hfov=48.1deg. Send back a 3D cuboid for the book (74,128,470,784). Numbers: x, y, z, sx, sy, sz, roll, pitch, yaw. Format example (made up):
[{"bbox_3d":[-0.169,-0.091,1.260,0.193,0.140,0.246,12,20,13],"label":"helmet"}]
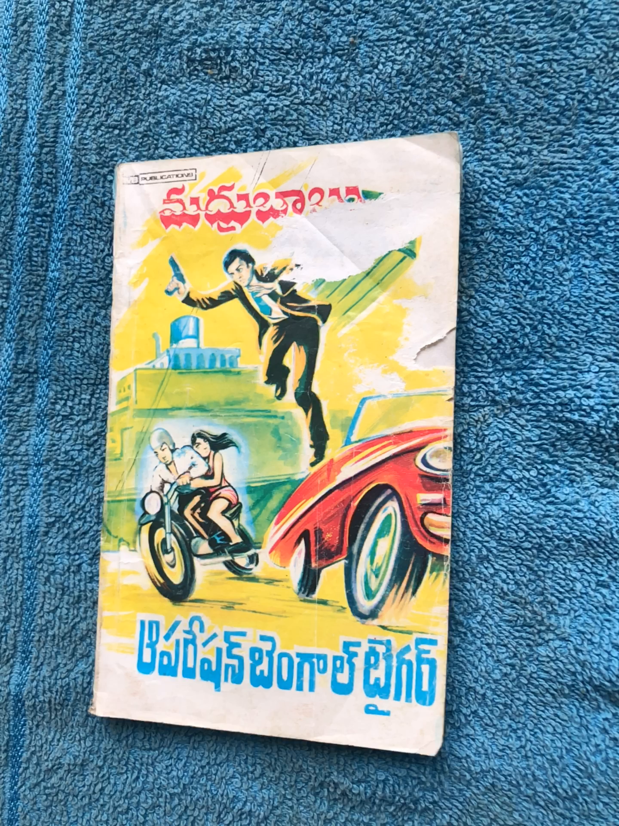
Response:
[{"bbox_3d":[-0.009,0.008,0.190,0.100,0.020,0.160,1,86,12],"label":"book"}]
